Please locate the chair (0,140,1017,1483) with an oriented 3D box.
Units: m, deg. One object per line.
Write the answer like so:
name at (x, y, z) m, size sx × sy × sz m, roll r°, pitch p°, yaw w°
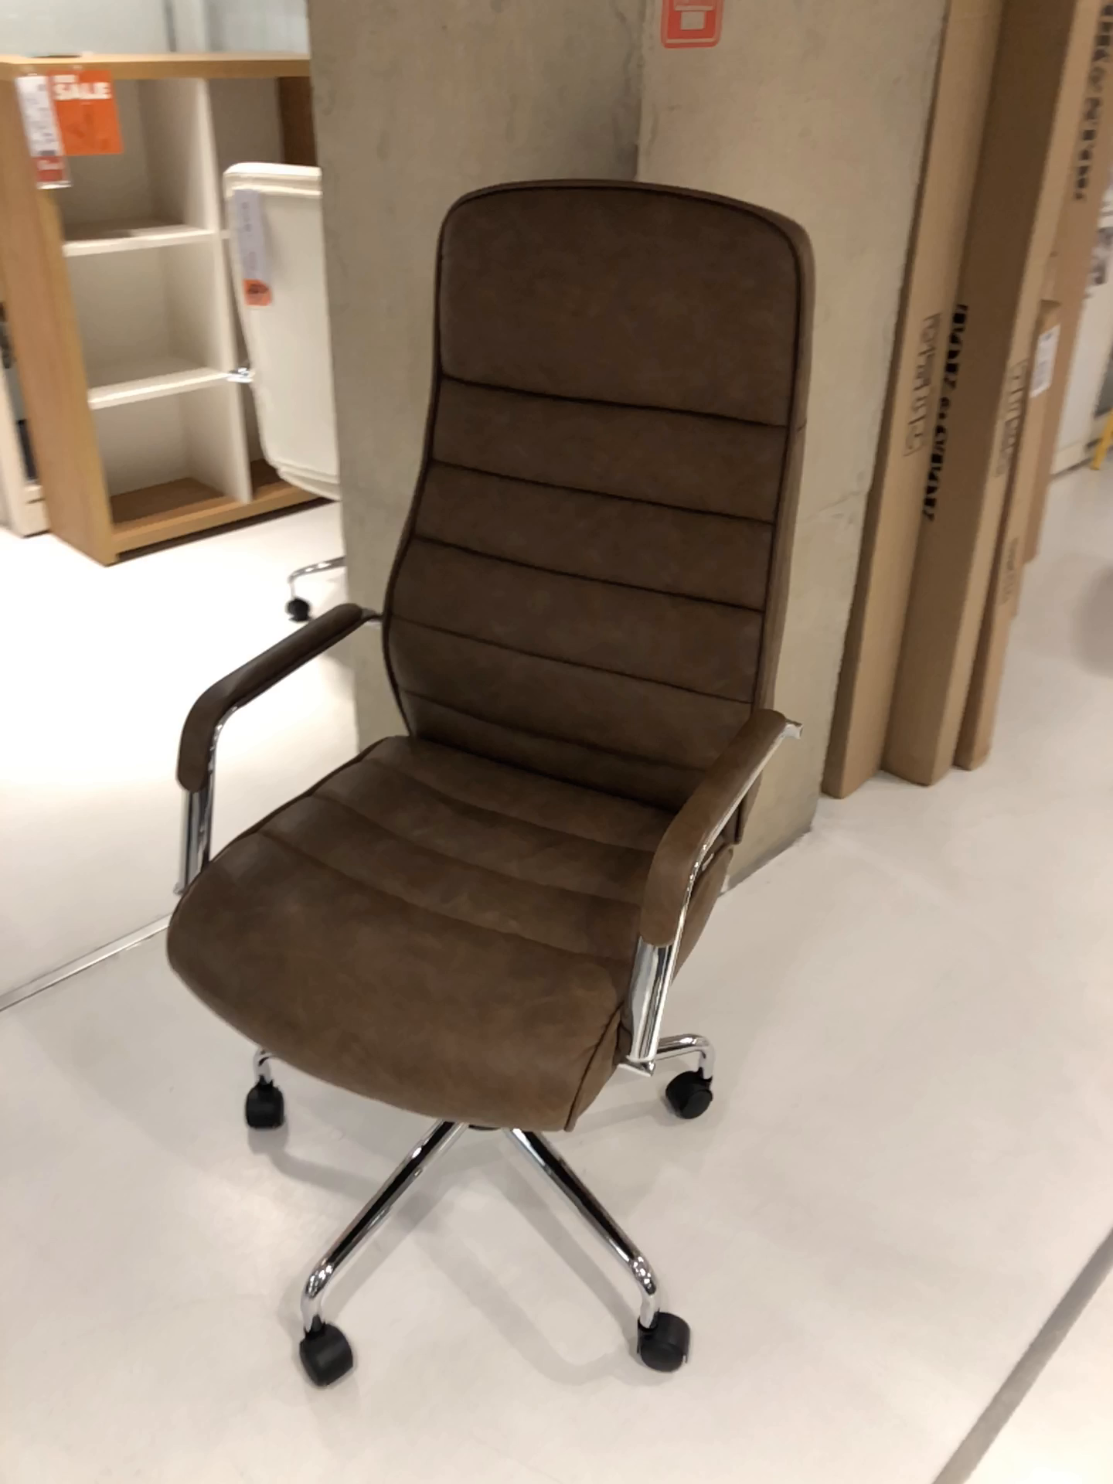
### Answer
chair at (-0.061, 0.008, 1.161) m, size 0.641 × 0.963 × 0.634 m, roll 17°, pitch 34°, yaw 25°
